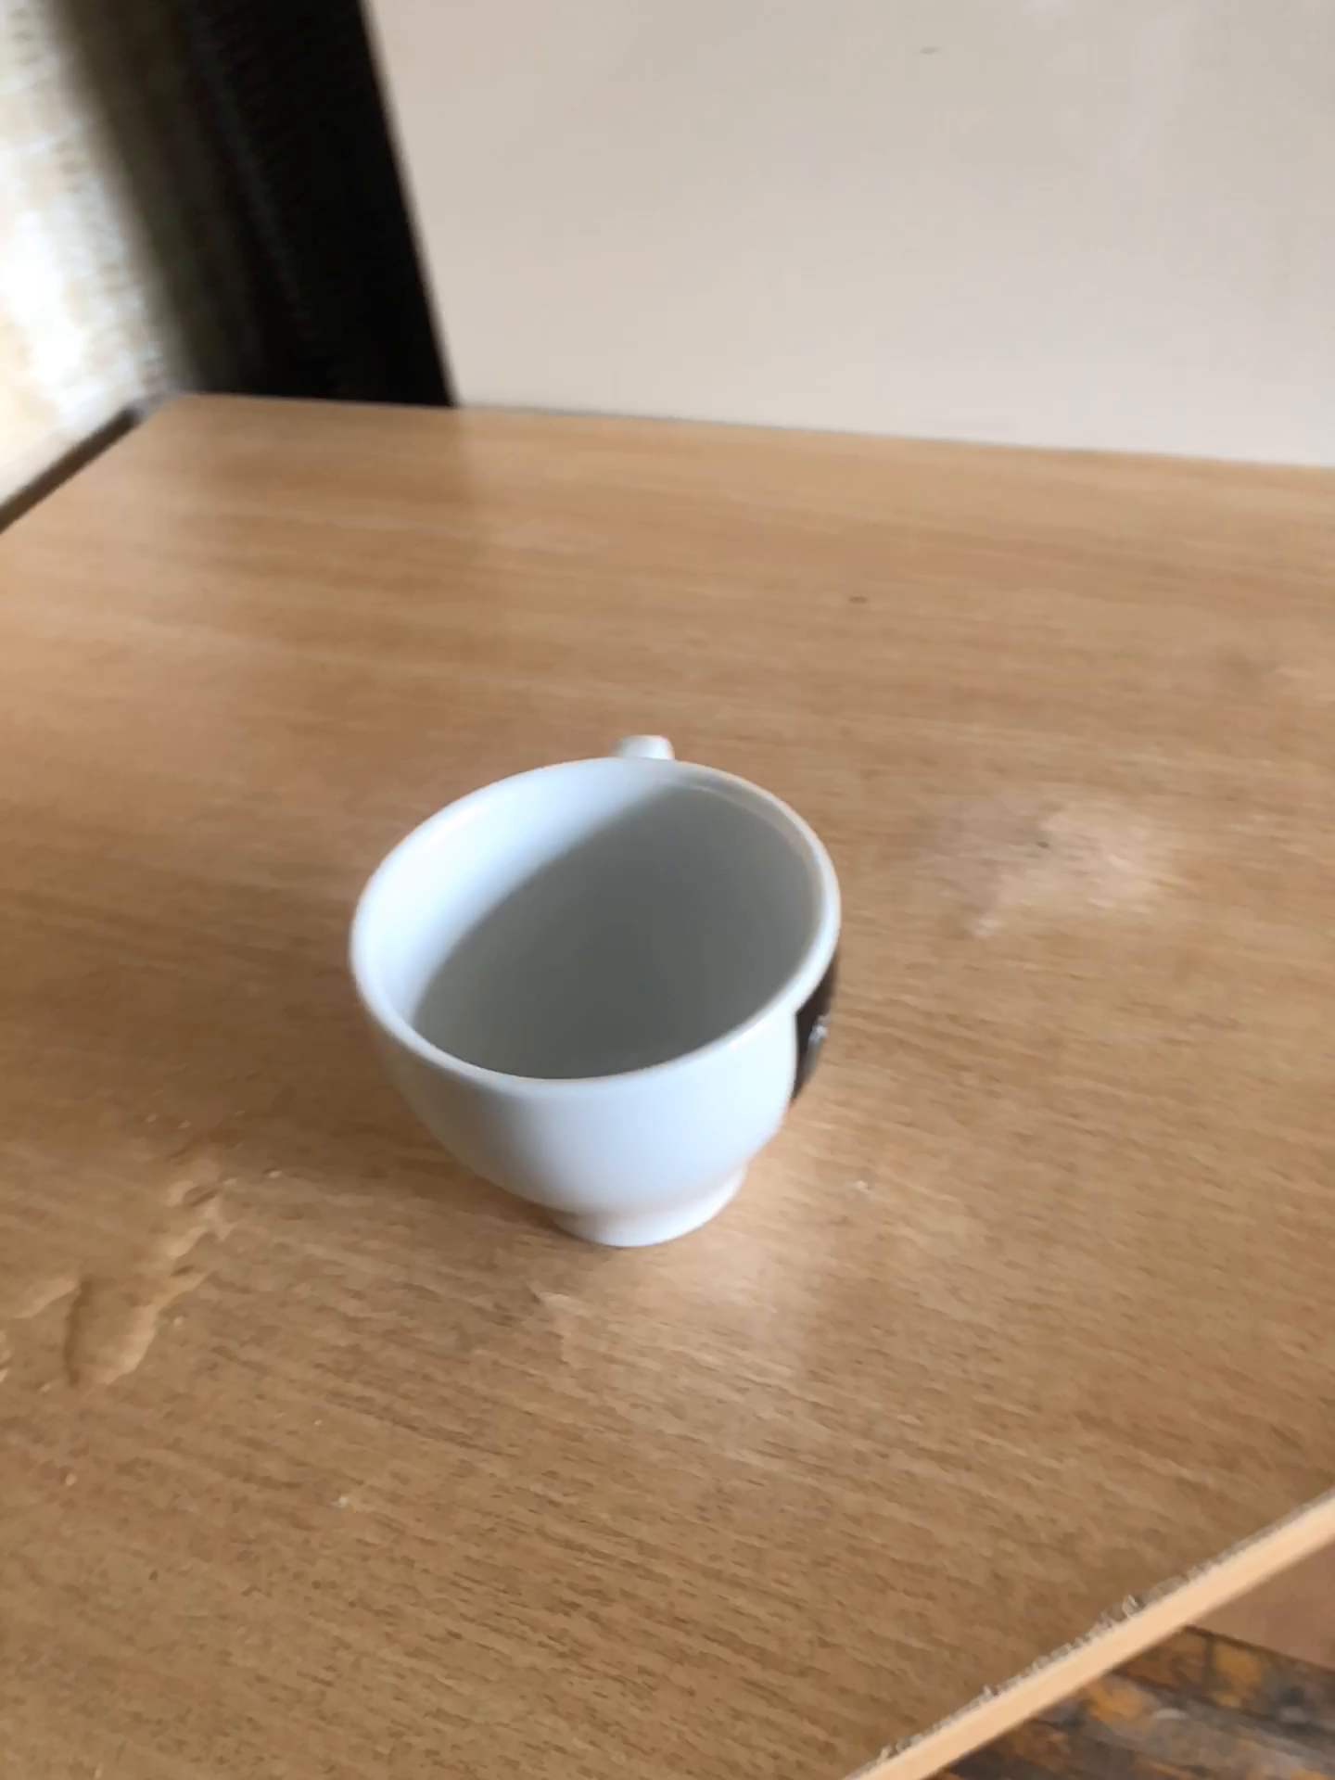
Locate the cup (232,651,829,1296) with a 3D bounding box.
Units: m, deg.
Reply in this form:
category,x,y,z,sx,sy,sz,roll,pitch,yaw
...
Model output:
category,x,y,z,sx,sy,sz,roll,pitch,yaw
cup,-0.014,0.010,0.260,0.080,0.050,0.105,-1,43,9
